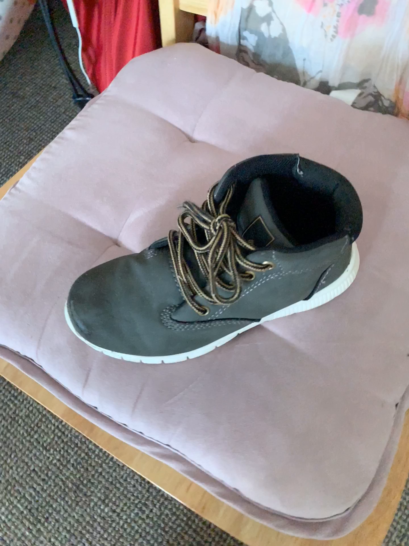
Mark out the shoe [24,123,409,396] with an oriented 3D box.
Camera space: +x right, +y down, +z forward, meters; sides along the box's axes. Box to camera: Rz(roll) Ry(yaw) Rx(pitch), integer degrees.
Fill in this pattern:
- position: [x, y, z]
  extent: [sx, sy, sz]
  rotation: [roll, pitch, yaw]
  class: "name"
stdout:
- position: [0.012, -0.001, 0.318]
  extent: [0.230, 0.129, 0.100]
  rotation: [-17, 68, -6]
  class: "shoe"
